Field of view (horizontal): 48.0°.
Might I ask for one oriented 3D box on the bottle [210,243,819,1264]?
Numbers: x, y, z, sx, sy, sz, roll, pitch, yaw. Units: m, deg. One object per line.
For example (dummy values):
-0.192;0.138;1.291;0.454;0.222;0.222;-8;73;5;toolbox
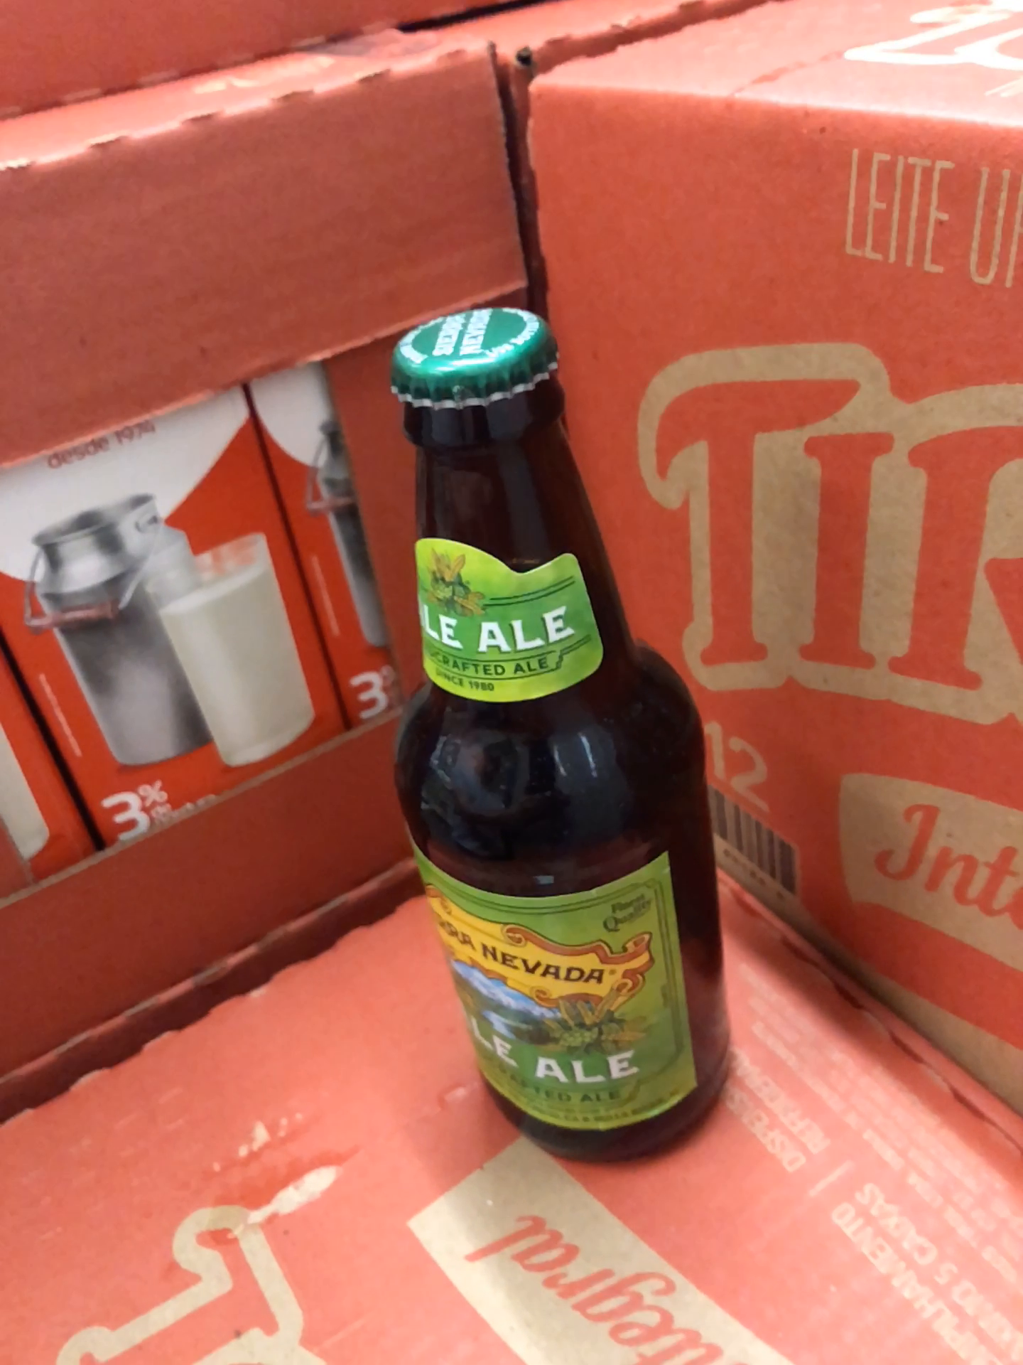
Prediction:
0.011;0.022;0.228;0.070;0.188;0.060;24;48;37;bottle
